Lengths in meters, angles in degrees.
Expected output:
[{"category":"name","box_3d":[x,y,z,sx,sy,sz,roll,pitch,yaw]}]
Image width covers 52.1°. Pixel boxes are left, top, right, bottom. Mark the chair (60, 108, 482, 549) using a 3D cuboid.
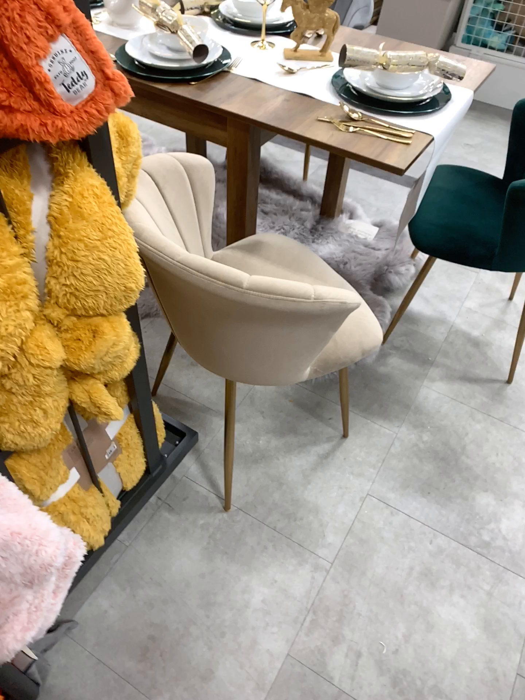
[{"category":"chair","box_3d":[-0.017,-0.062,1.246,0.574,0.666,0.565,-24,53,-24]}]
